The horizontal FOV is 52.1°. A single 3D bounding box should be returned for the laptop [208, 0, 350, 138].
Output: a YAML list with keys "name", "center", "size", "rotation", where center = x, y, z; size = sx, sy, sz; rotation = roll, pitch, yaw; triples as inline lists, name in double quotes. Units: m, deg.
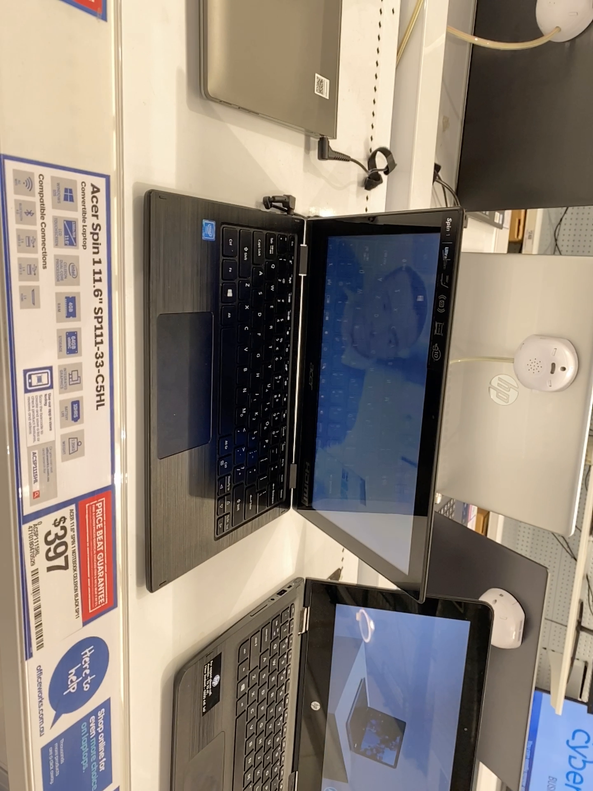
- name: "laptop"
  center: [-0.008, -0.372, 0.491]
  size: [0.196, 0.001, 0.284]
  rotation: [-16, 110, -57]

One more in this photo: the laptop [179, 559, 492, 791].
- name: "laptop"
  center: [0.056, 0.393, 0.635]
  size: [0.298, 0.189, 0.323]
  rotation: [-16, 112, -57]

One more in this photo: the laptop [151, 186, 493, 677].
- name: "laptop"
  center: [0.023, 0.006, 0.474]
  size: [0.198, 0.174, 0.290]
  rotation: [-15, 111, -57]
